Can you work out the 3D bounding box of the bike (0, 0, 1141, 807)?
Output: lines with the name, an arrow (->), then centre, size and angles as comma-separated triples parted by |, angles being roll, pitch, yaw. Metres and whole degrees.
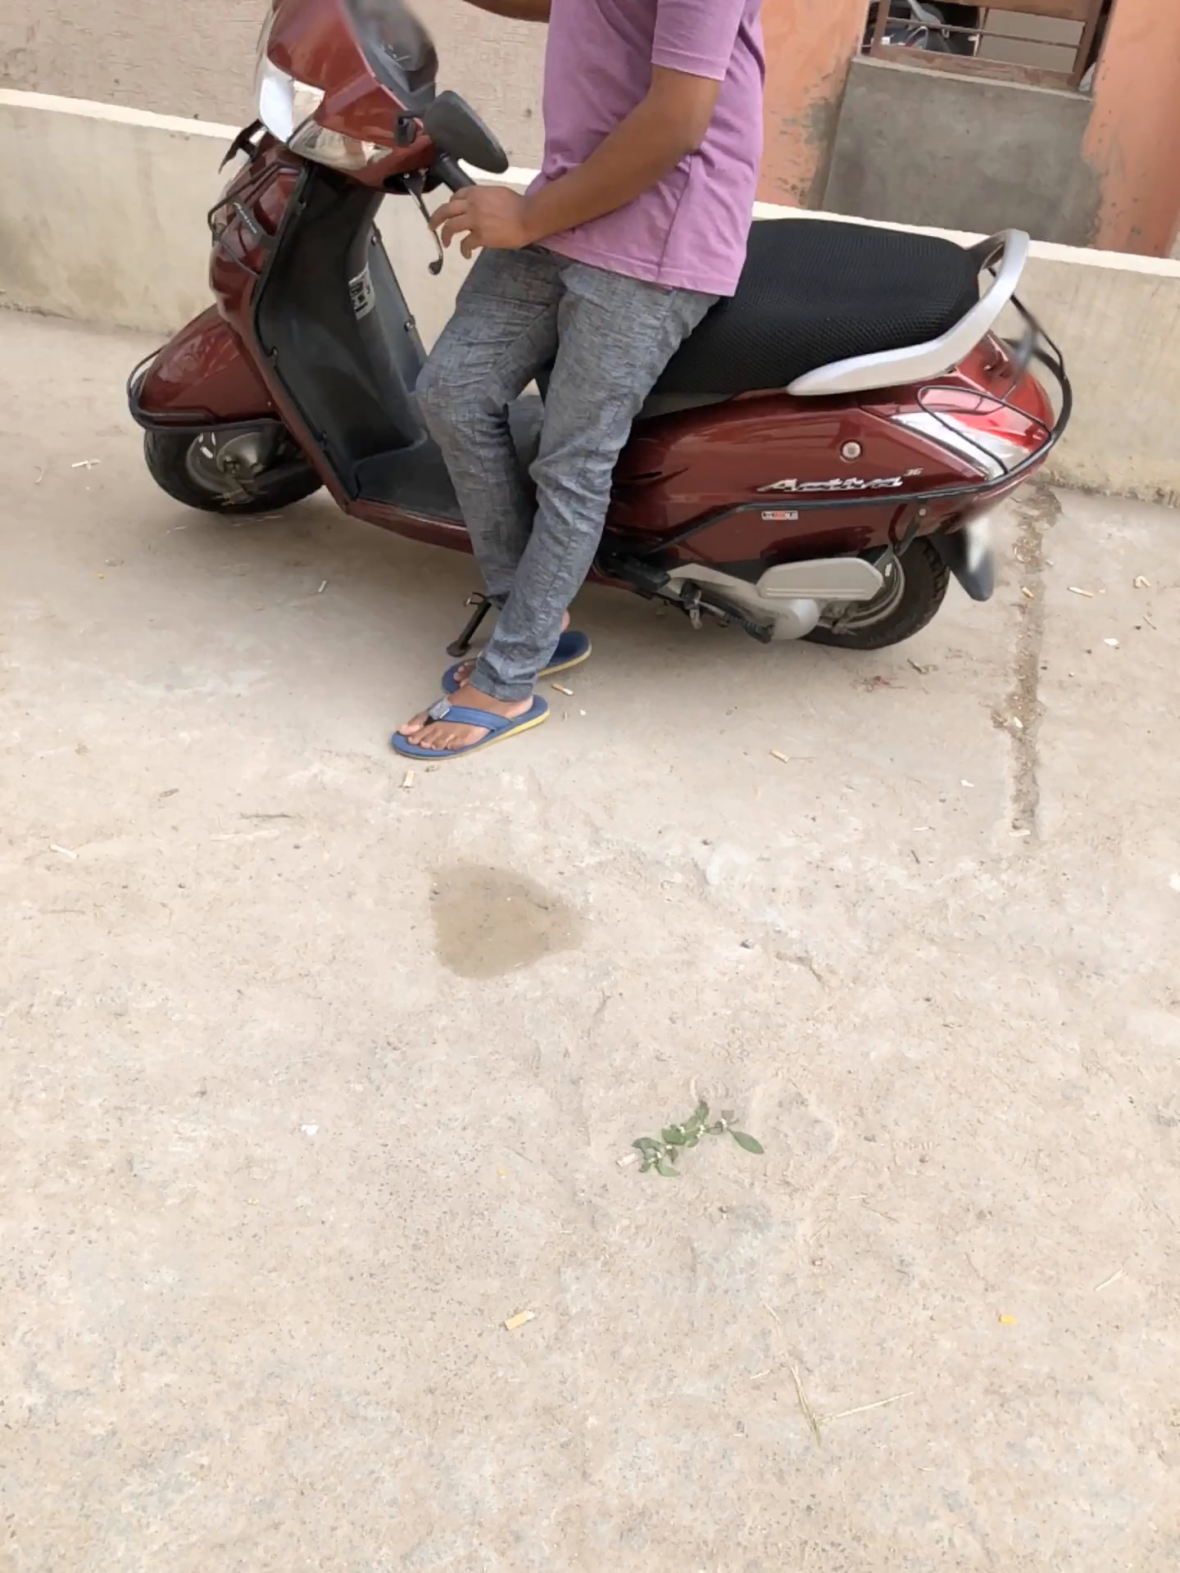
bike -> -0.115, -0.729, 2.186 | 1.576, 1.072, 0.634 | 12, 37, 9
